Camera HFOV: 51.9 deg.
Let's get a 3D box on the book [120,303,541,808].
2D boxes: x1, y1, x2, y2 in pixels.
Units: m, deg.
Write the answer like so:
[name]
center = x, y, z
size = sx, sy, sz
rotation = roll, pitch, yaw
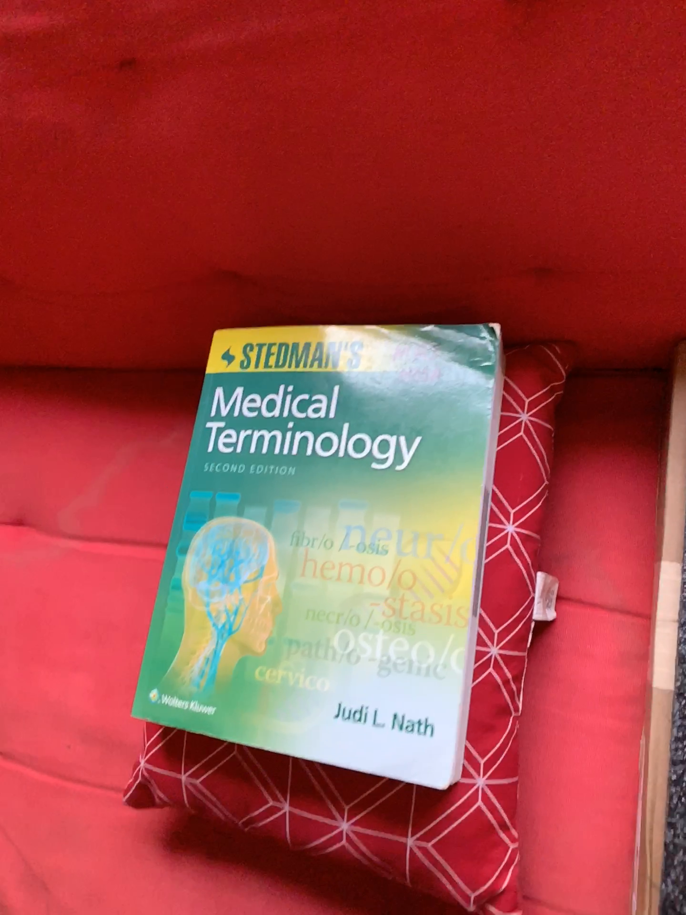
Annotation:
[book]
center = -0.004, 0.042, 0.474
size = 0.241, 0.040, 0.300
rotation = 4, 75, 19
